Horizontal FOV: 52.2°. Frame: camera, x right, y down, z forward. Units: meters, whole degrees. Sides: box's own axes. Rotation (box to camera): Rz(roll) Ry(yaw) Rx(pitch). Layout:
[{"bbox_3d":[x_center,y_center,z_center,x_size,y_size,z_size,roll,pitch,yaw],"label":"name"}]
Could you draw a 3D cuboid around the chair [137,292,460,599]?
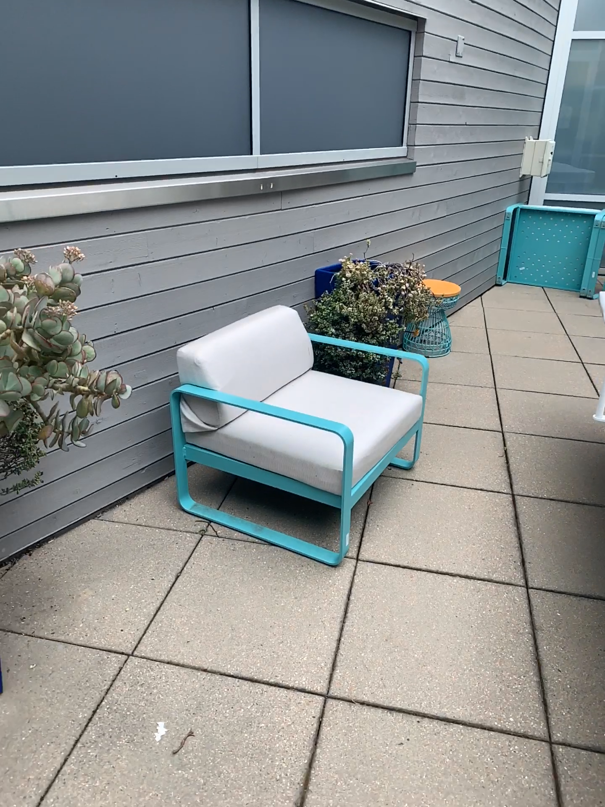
[{"bbox_3d":[0.025,0.066,2.574,0.902,0.736,0.973,14,27,27],"label":"chair"}]
